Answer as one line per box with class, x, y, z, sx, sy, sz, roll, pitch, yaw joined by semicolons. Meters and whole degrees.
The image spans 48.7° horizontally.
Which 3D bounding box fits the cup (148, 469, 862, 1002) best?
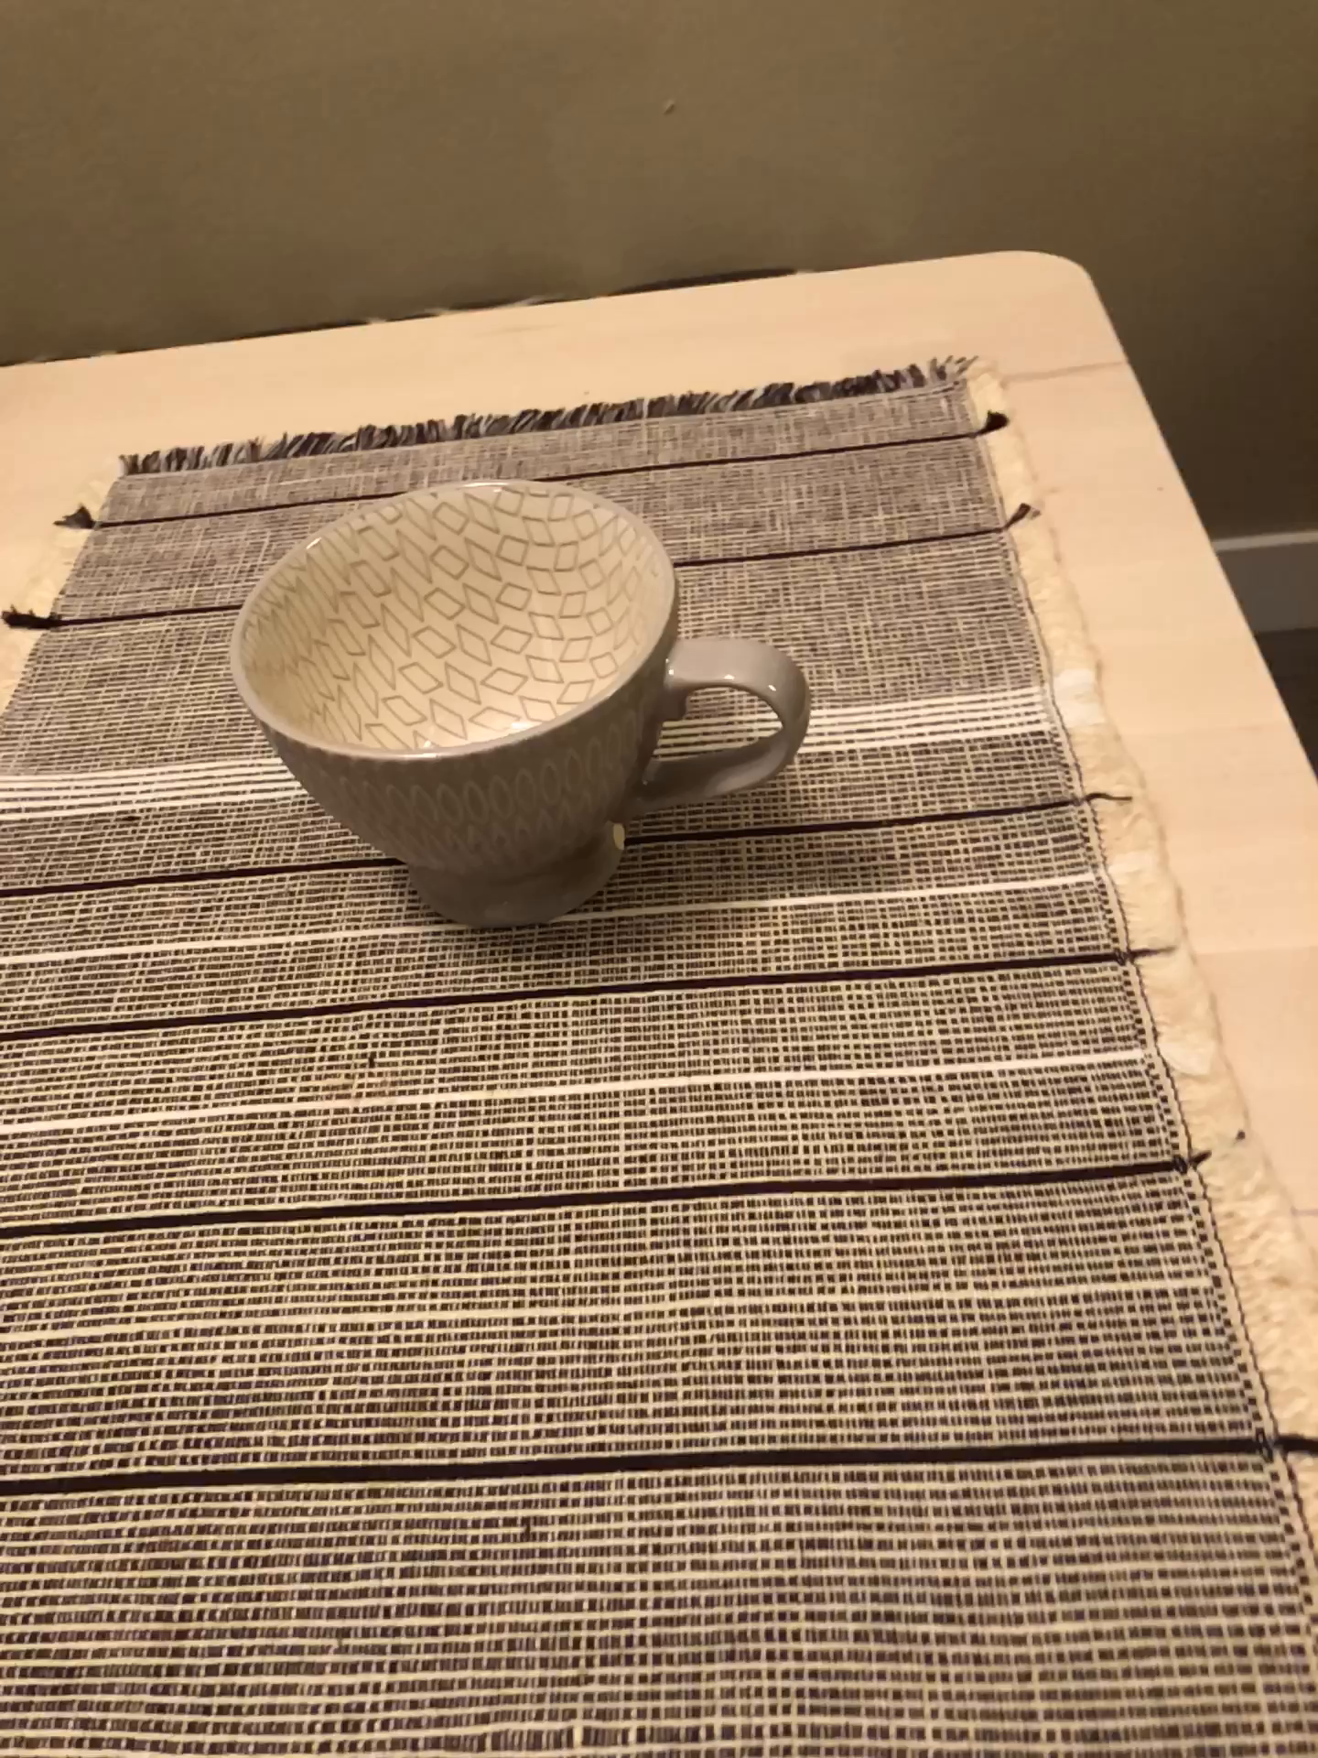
cup;-0.029;-0.043;0.385;0.150;0.080;0.111;4;47;14
